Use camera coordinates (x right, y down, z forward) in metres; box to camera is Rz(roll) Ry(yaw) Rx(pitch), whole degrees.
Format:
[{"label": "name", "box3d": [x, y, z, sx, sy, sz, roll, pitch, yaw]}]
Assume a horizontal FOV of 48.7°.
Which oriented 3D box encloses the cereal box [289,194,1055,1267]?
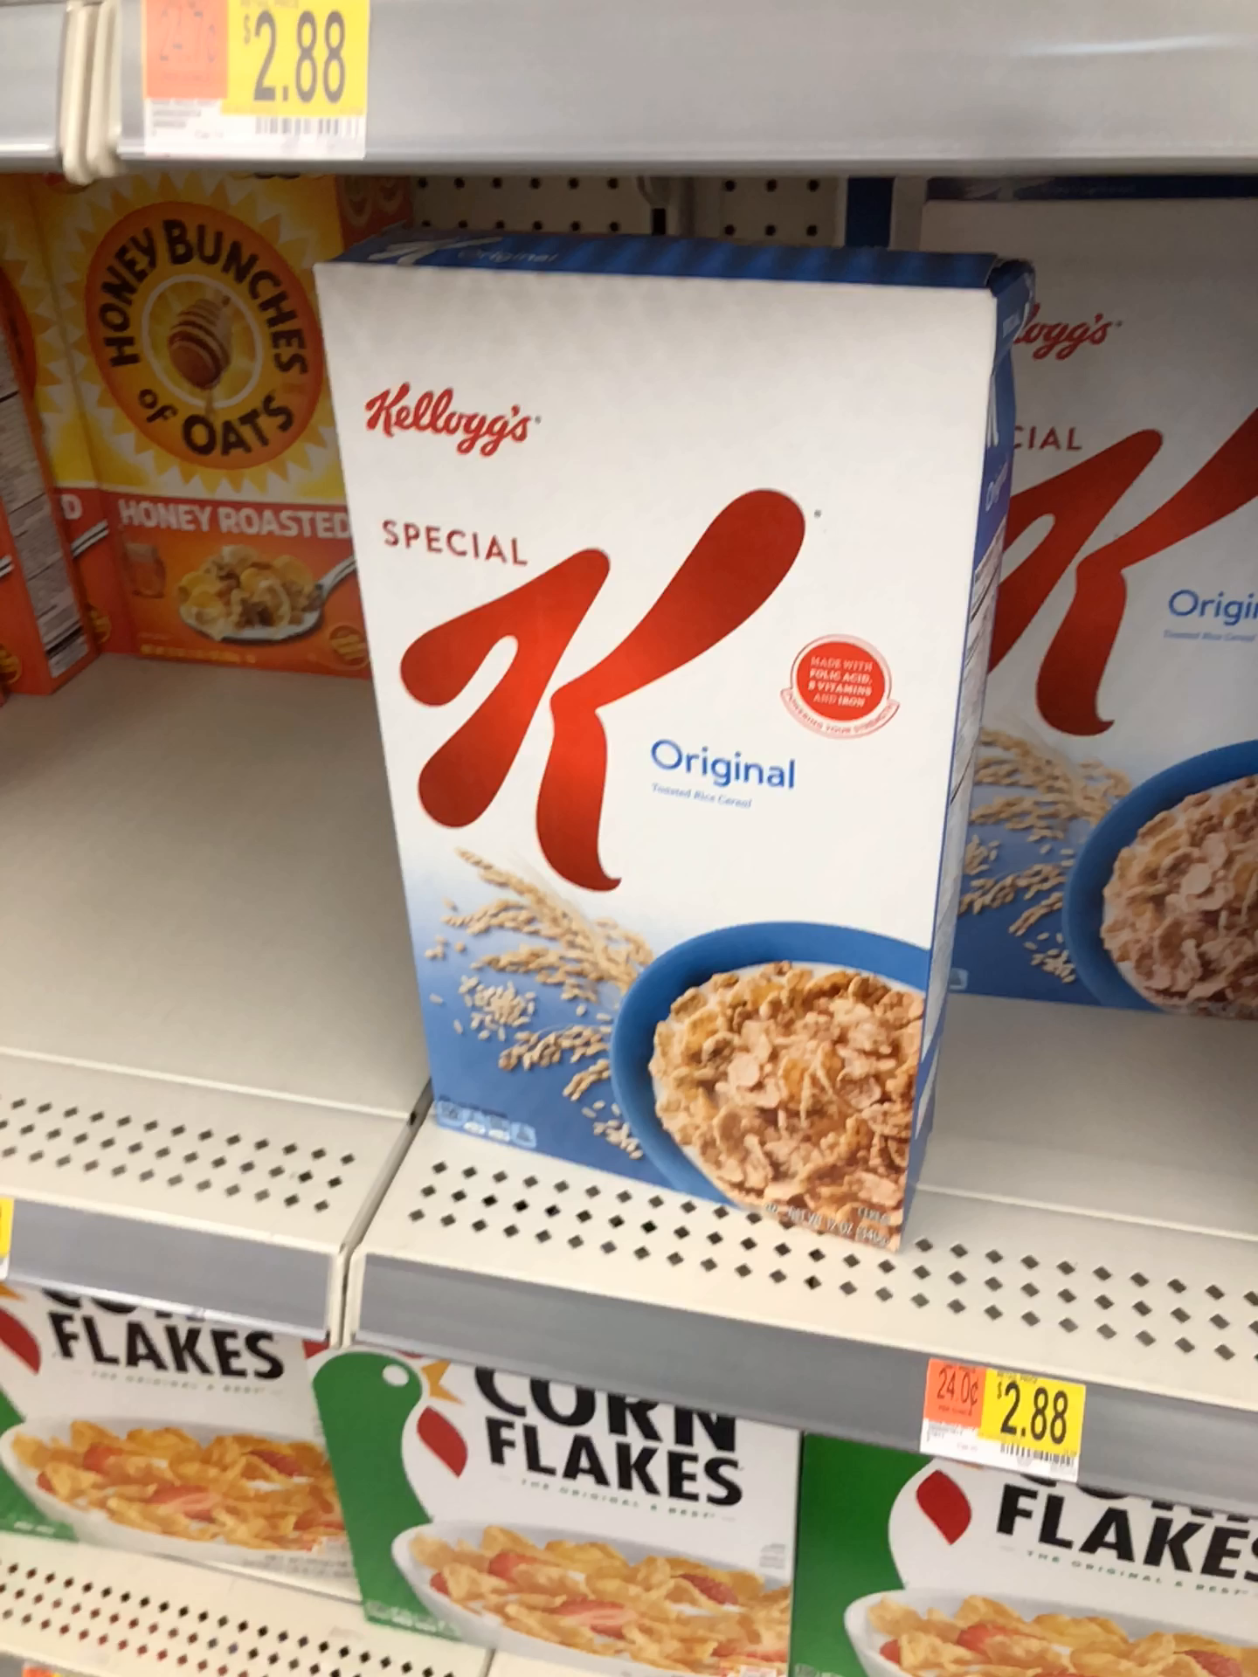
[{"label": "cereal box", "box3d": [0.016, -0.026, 0.462, 0.190, 0.329, 0.080, 11, 34, 19]}]
